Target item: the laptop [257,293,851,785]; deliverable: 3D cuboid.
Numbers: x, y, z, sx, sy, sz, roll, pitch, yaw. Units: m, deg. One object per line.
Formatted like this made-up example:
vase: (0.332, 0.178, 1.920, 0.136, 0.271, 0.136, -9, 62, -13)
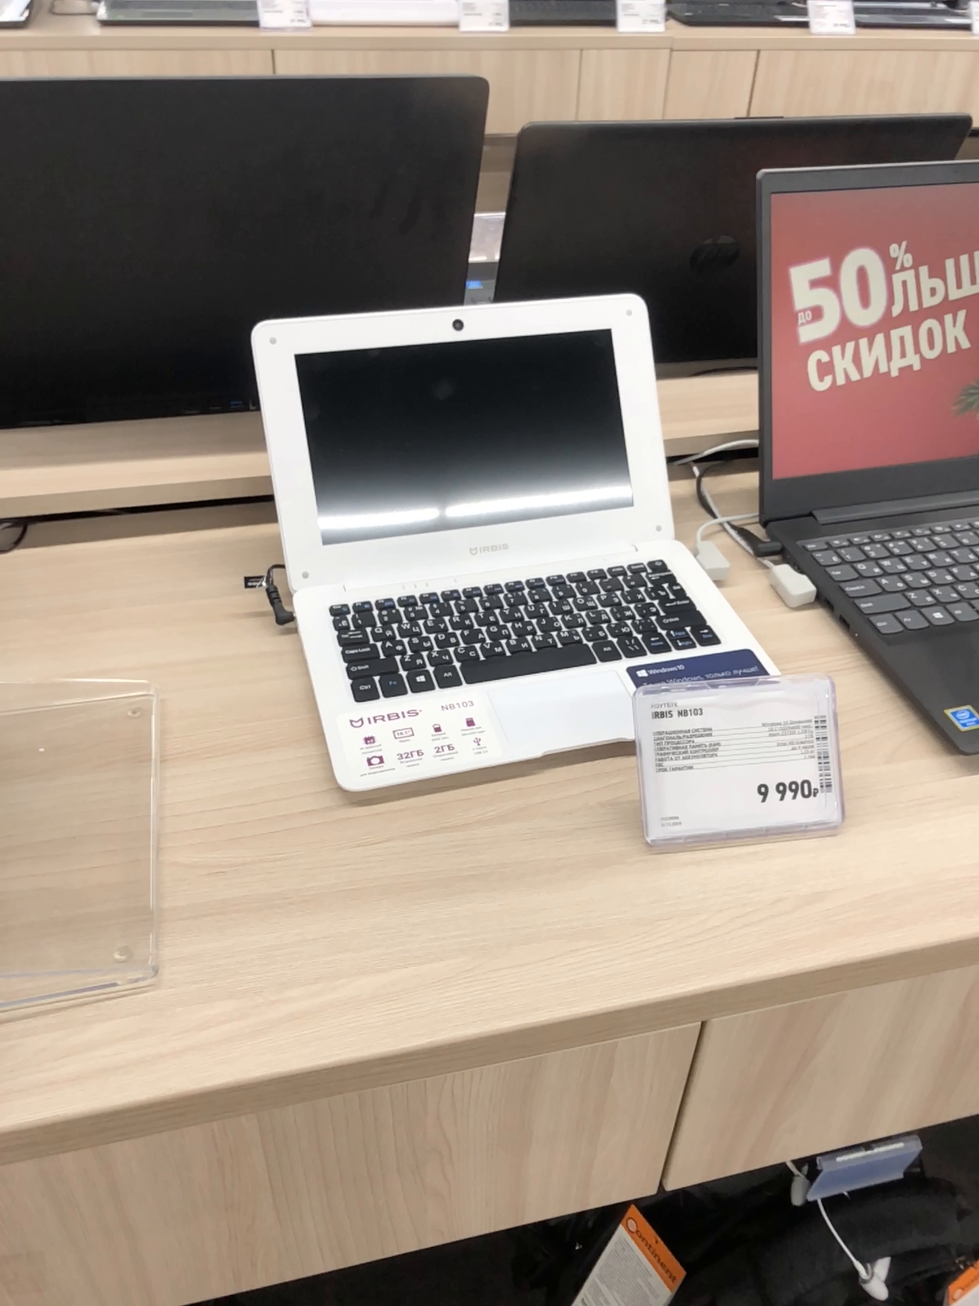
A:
laptop: (0.016, -0.102, 0.733, 0.296, 0.144, 0.319, -8, 41, -14)
